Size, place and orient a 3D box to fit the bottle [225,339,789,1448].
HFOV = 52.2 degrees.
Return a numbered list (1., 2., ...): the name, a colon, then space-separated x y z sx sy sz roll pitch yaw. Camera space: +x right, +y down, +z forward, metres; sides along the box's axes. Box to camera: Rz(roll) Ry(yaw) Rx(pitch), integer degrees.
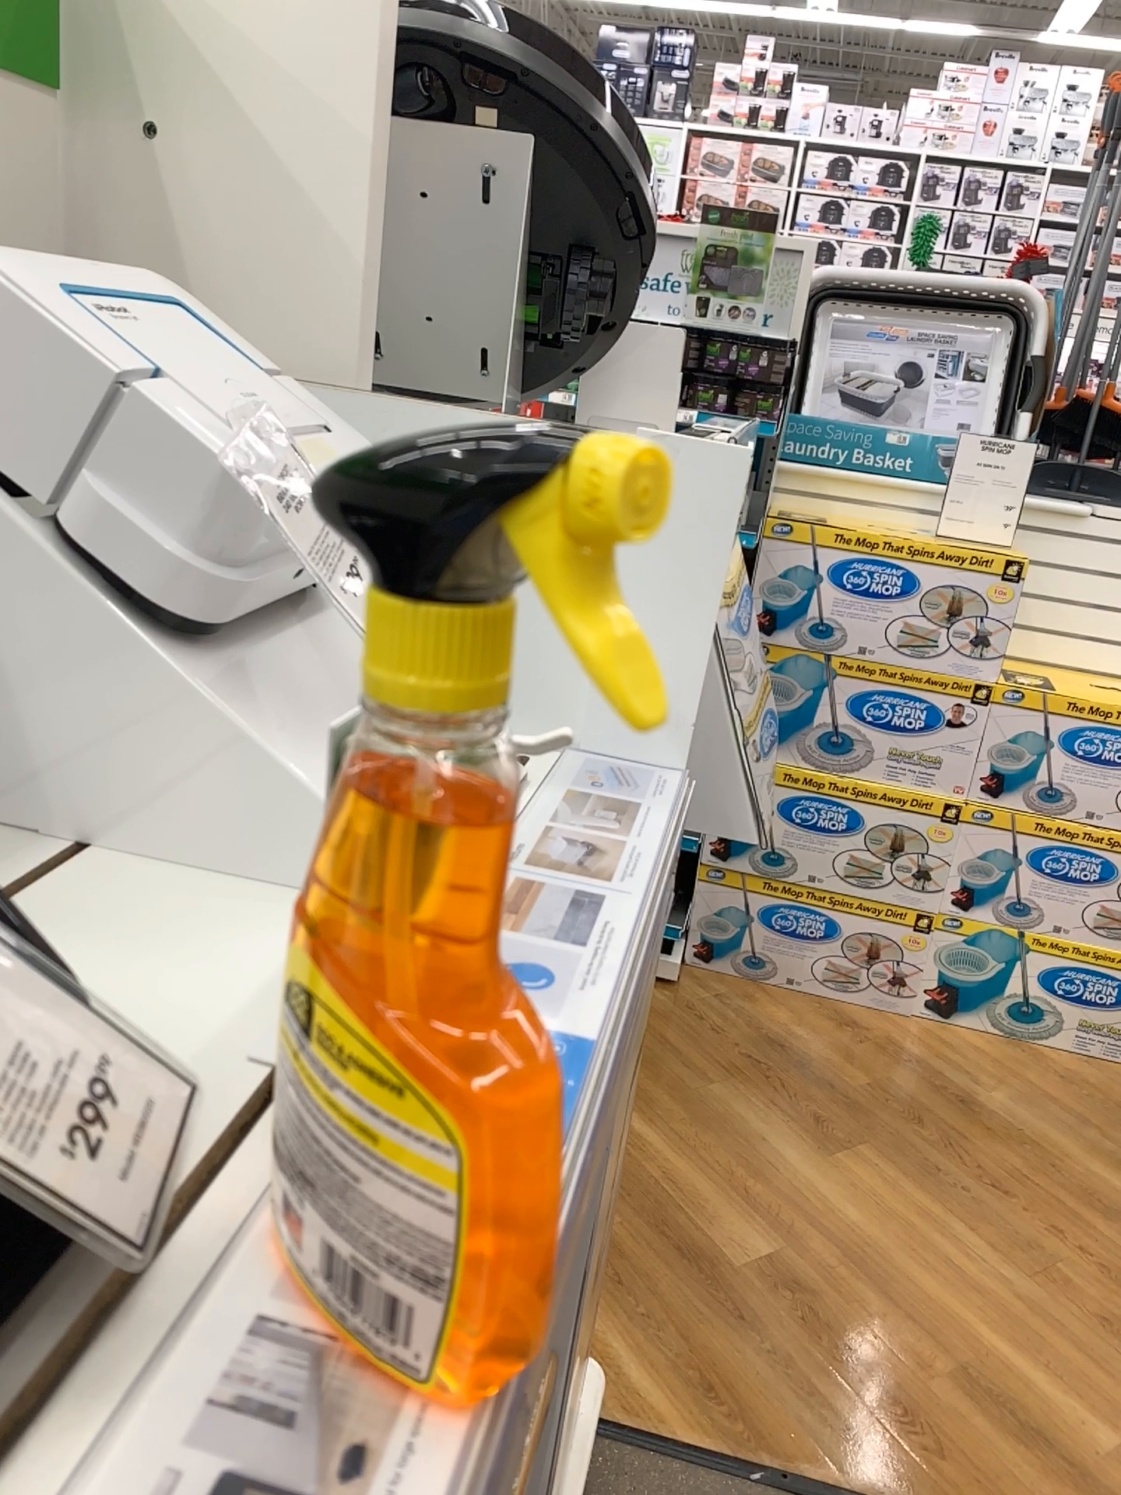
1. bottle: -0.024 0.030 0.269 0.100 0.226 0.050 23 24 38
